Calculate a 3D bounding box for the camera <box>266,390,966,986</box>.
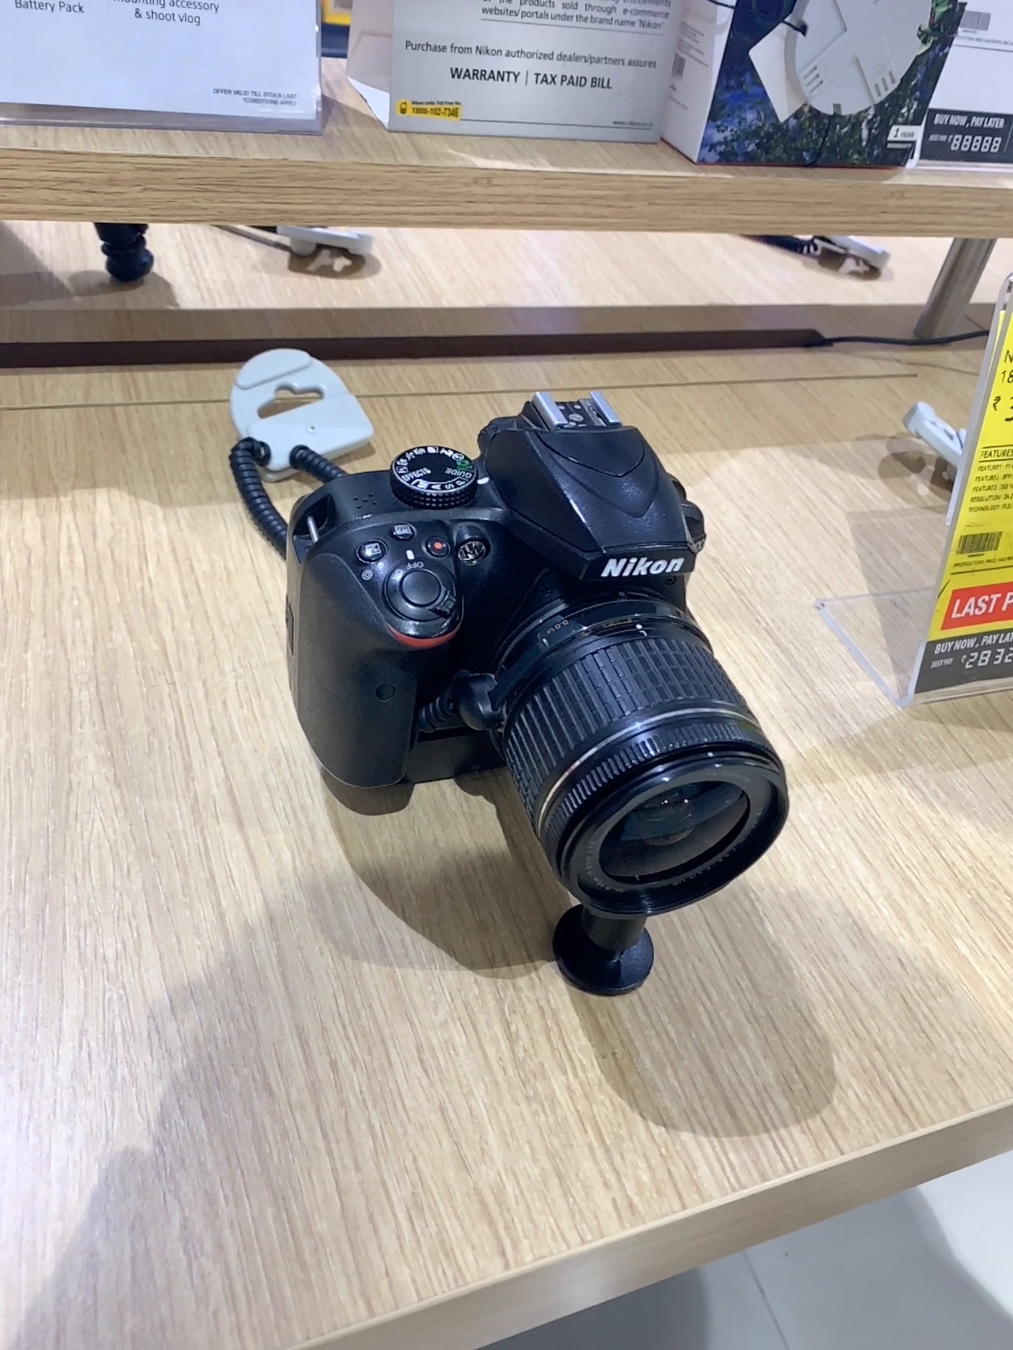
[{"bbox_3d":[0.013,-0.006,0.235,0.110,0.073,0.100,-7,45,-23],"label":"camera"}]
